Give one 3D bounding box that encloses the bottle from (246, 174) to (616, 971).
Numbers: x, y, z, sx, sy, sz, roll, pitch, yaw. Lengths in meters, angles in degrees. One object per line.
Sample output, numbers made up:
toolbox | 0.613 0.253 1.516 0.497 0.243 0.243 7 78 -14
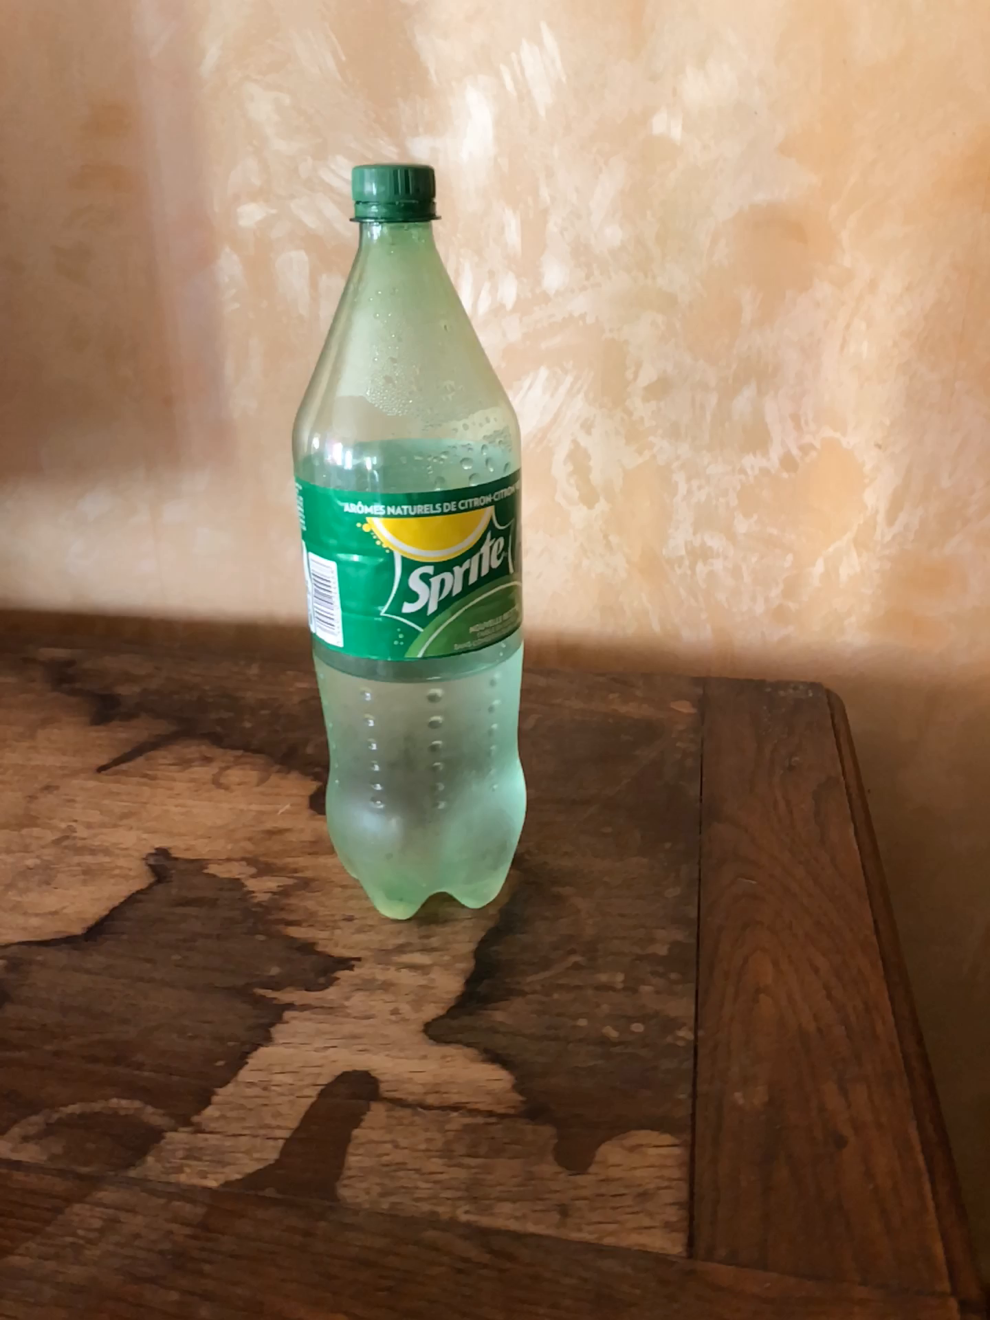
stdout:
bottle | -0.024 -0.034 0.420 0.090 0.279 0.090 0 23 0
